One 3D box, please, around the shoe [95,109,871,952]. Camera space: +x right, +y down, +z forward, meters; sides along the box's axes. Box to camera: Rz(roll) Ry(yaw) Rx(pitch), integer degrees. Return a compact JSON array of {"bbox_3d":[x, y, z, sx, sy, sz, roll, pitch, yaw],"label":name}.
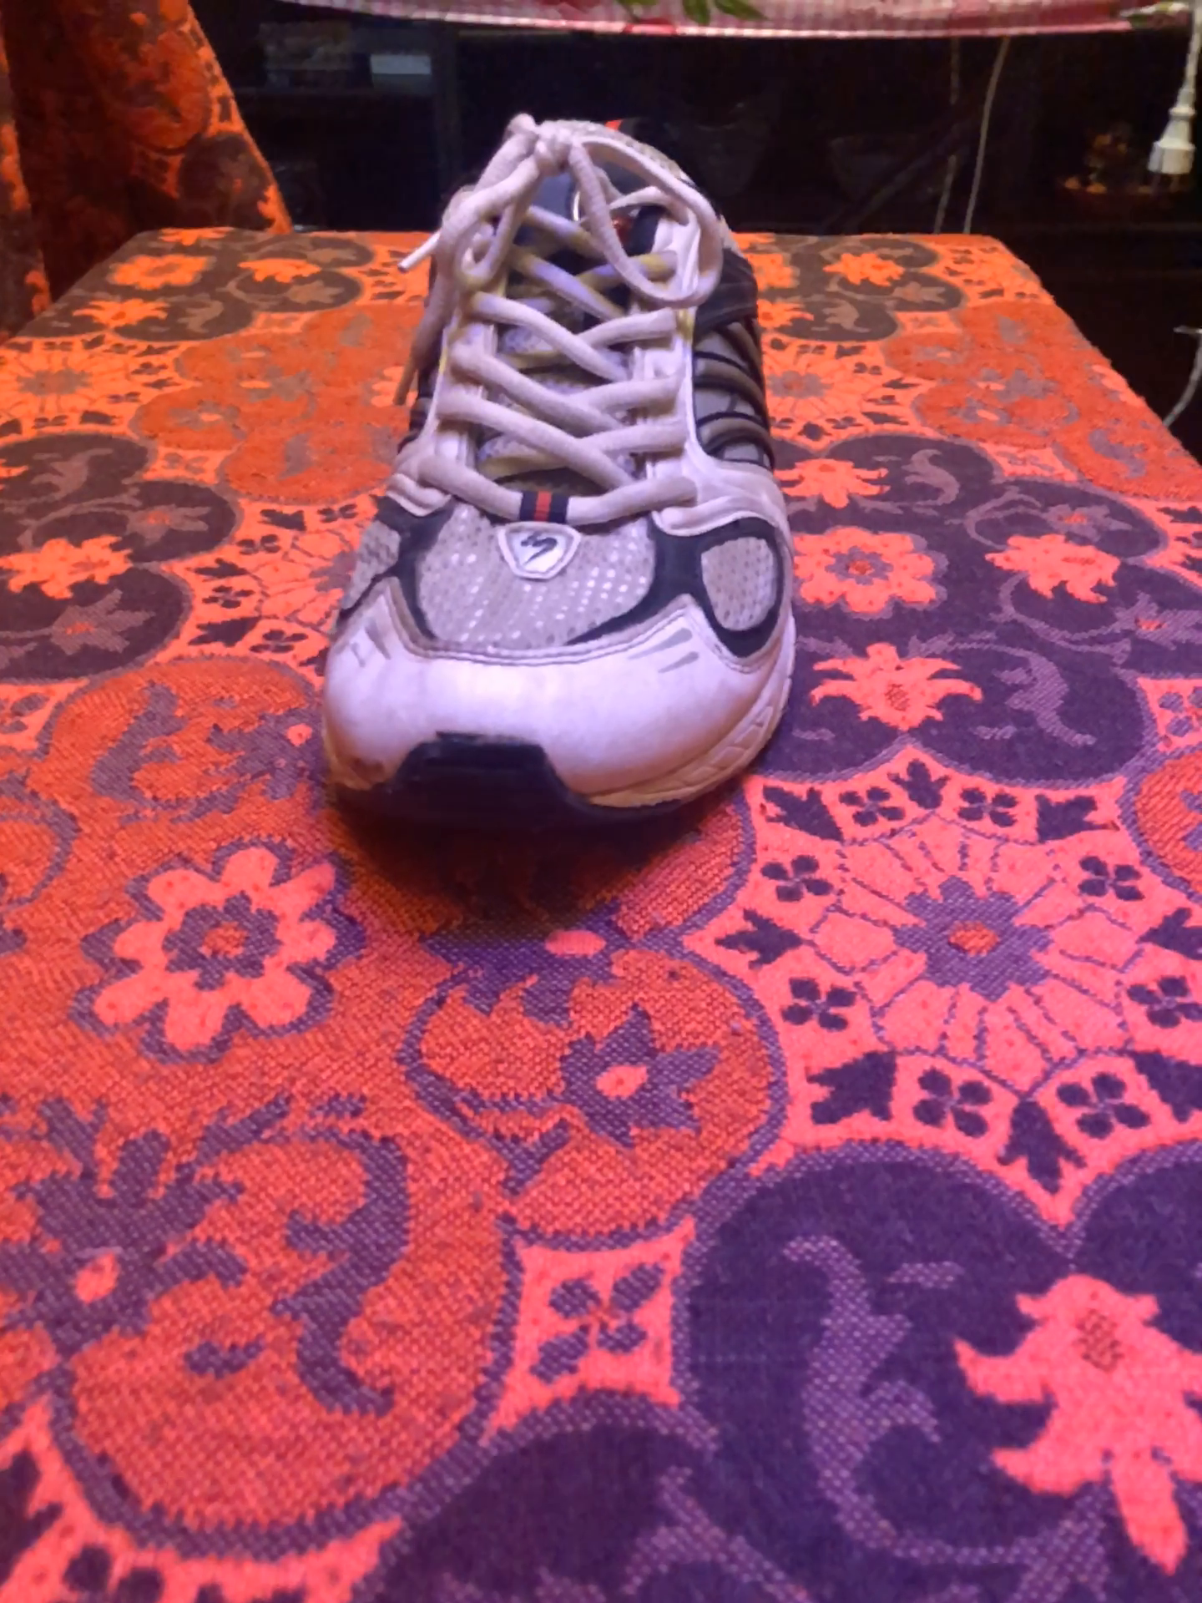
[{"bbox_3d":[-0.013,-0.102,0.359,0.120,0.109,0.302,0,35,2],"label":"shoe"}]
